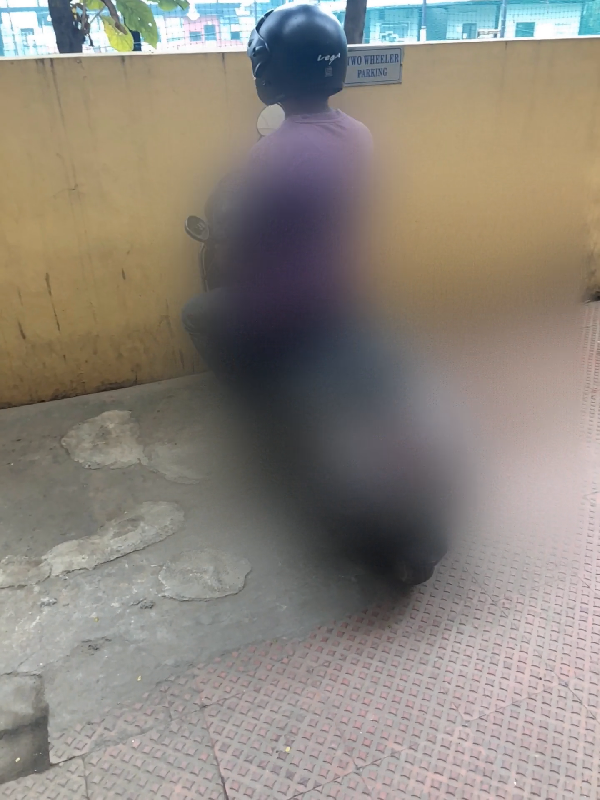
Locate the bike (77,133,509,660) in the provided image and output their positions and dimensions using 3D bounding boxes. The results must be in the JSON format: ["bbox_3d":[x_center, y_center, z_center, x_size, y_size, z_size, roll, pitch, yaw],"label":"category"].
[{"bbox_3d":[-0.198,-0.207,2.359,0.644,1.182,1.722,-14,32,-22],"label":"bike"}]
